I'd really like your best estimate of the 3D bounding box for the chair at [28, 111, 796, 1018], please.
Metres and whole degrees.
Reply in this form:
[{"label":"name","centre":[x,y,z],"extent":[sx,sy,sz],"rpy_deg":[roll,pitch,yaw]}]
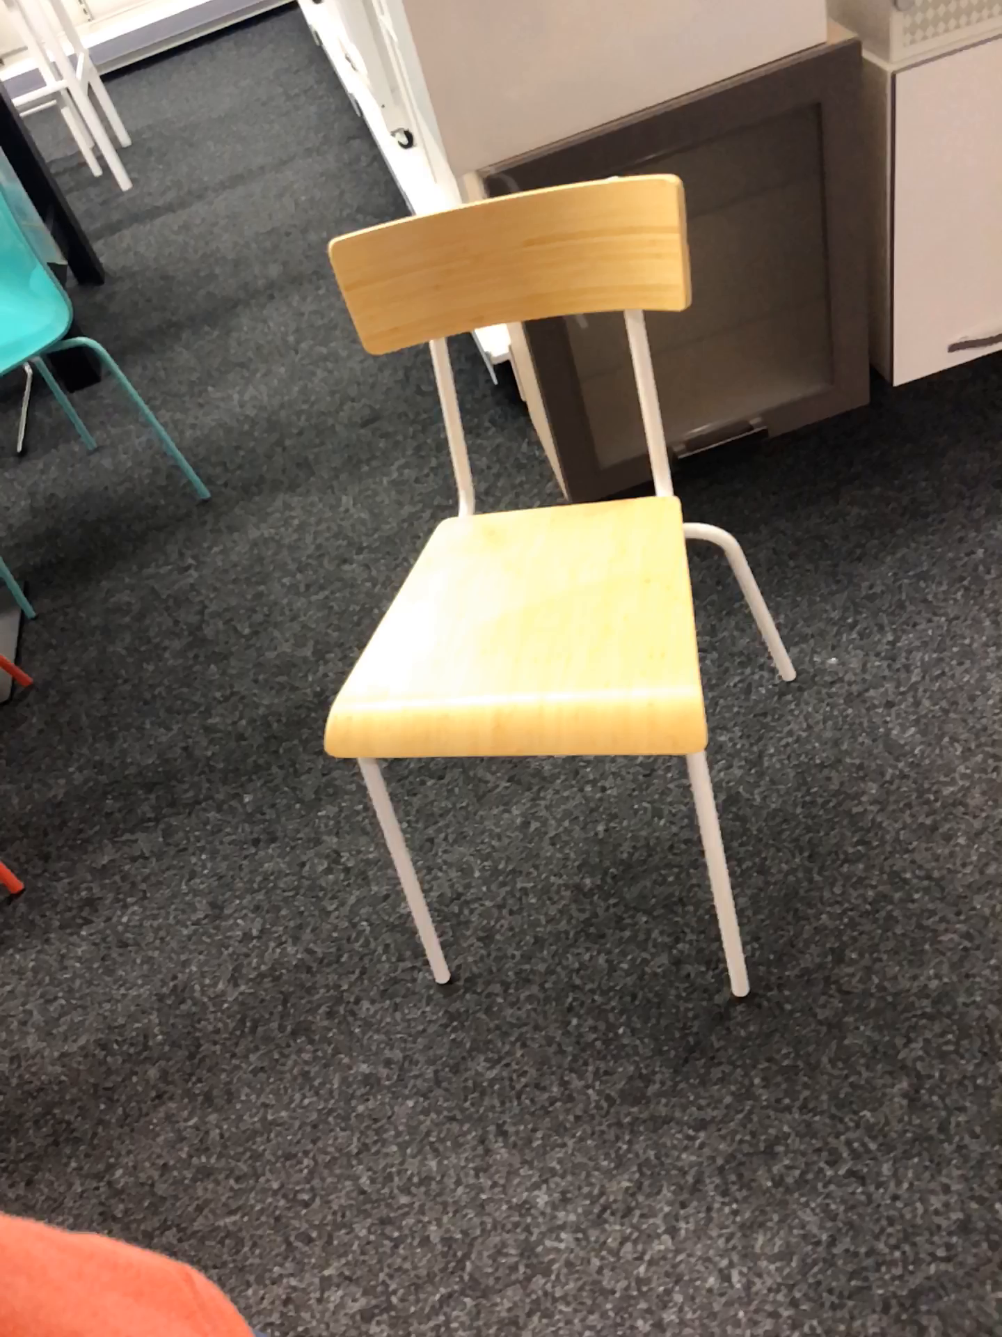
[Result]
[{"label":"chair","centre":[0.026,-0.060,1.285],"extent":[0.540,0.816,0.583],"rpy_deg":[-4,46,17]}]
